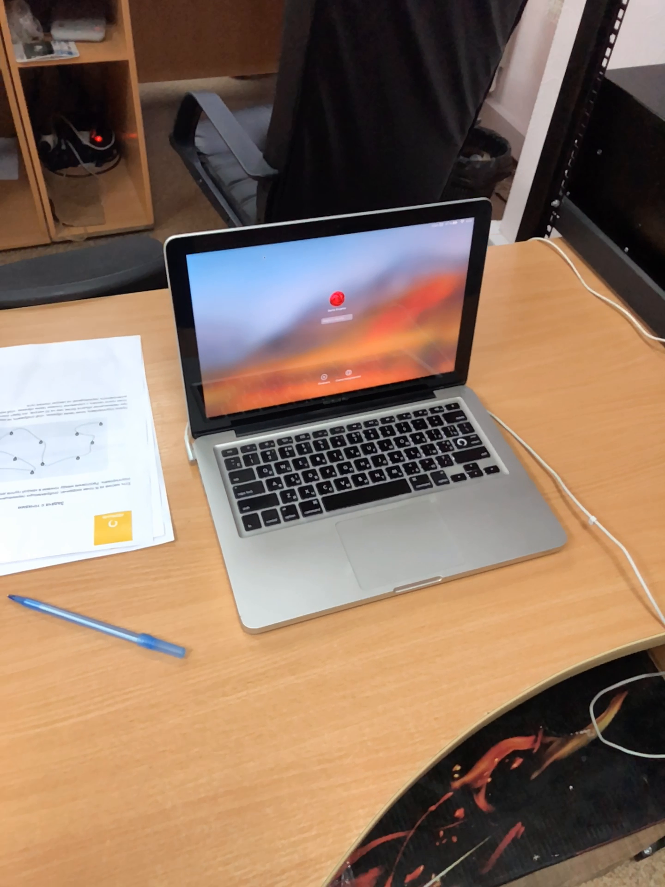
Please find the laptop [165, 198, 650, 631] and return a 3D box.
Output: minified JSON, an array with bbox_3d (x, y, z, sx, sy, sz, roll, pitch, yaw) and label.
[{"bbox_3d":[0.041,-0.041,0.665,0.316,0.207,0.266,-12,50,-17],"label":"laptop"}]
